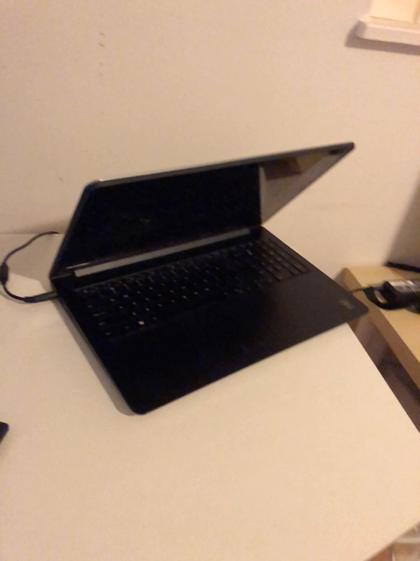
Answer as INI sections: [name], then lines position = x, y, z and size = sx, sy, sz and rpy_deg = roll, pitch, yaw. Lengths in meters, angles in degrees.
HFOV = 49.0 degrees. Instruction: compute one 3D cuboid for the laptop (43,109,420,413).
[laptop]
position = 0.024, -0.061, 0.591
size = 0.373, 0.207, 0.252
rpy_deg = -17, 44, -30
